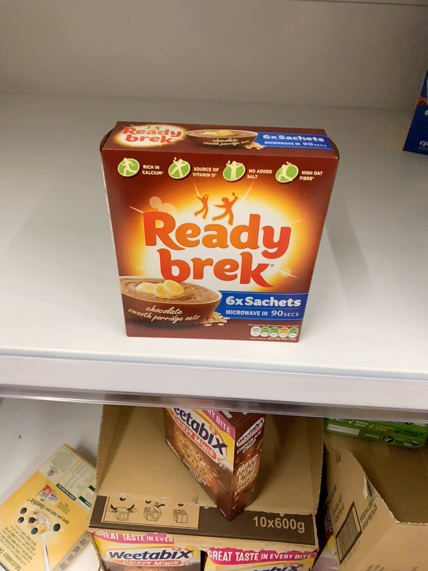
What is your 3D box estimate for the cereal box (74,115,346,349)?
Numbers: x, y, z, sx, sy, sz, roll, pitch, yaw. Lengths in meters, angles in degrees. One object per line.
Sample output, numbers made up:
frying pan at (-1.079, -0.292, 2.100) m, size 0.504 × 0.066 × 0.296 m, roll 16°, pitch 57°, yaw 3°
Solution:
cereal box at (-0.005, -0.036, 0.374) m, size 0.180 × 0.188 × 0.061 m, roll 2°, pitch 39°, yaw 0°
